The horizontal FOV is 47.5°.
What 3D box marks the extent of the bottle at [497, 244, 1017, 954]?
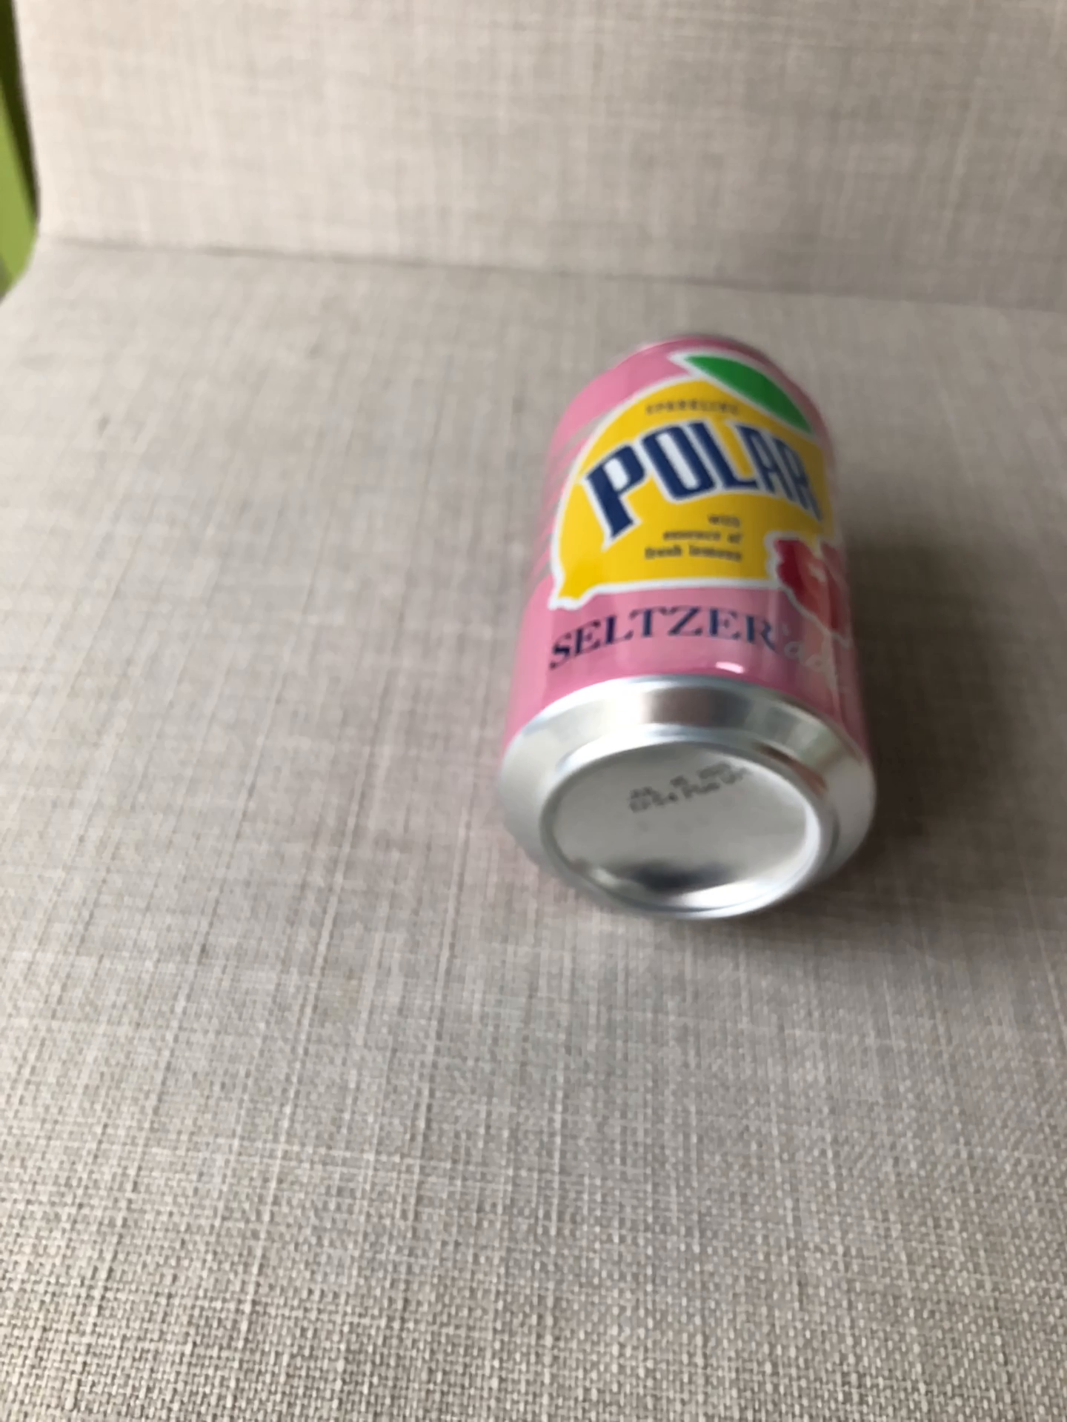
[{"bbox_3d":[0.035,-0.027,0.234,0.070,0.065,0.123,5,47,0],"label":"bottle"}]
